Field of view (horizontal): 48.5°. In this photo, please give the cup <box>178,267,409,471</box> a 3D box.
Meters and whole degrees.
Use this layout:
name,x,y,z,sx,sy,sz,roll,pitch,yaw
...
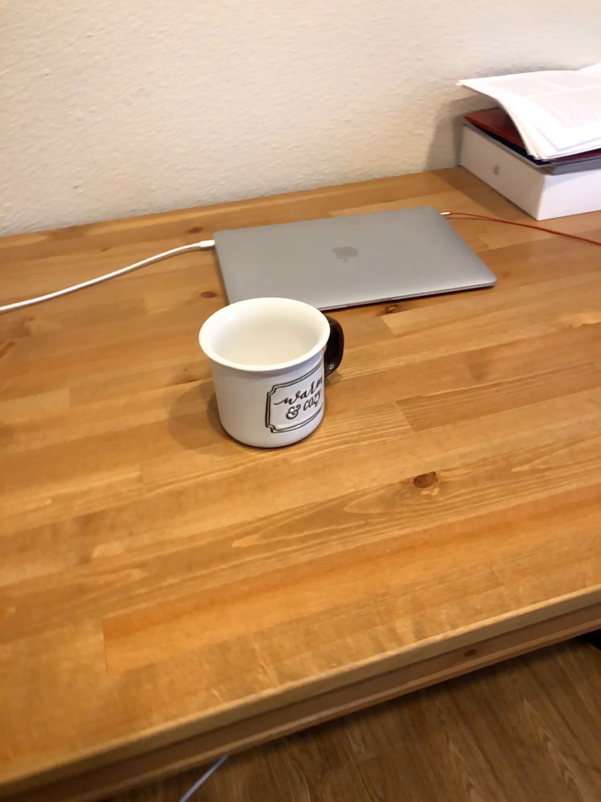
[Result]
name,x,y,z,sx,sy,sz,roll,pitch,yaw
cup,-0.005,-0.035,0.577,0.150,0.080,0.120,-27,44,-27
